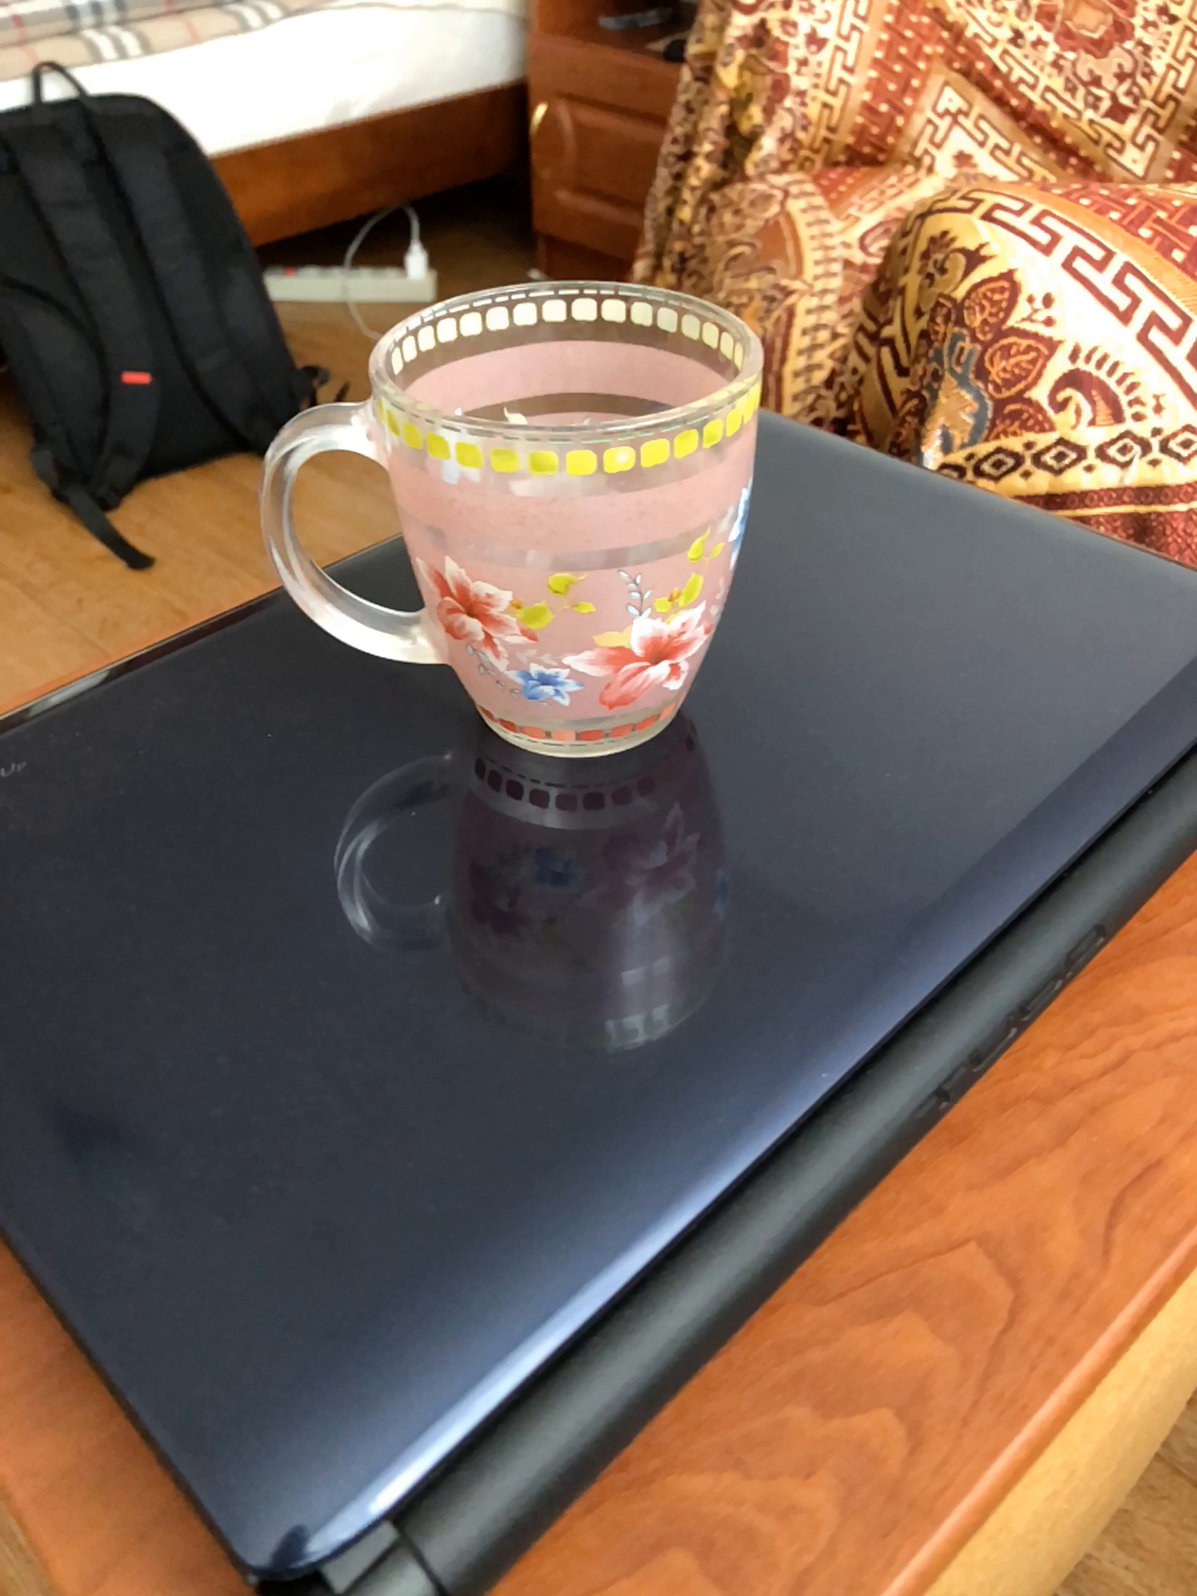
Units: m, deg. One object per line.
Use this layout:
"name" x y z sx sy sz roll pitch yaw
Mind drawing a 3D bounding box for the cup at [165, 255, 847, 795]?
"cup" -0.022 -0.068 0.313 0.130 0.081 0.095 -5 41 -6
